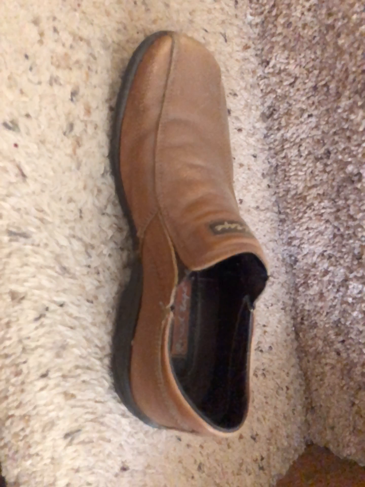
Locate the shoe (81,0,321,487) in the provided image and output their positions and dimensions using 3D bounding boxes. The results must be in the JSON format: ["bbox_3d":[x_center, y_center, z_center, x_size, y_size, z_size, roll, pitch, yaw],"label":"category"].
[{"bbox_3d":[0.013,-0.022,0.283,0.111,0.119,0.290,4,86,-42],"label":"shoe"}]
